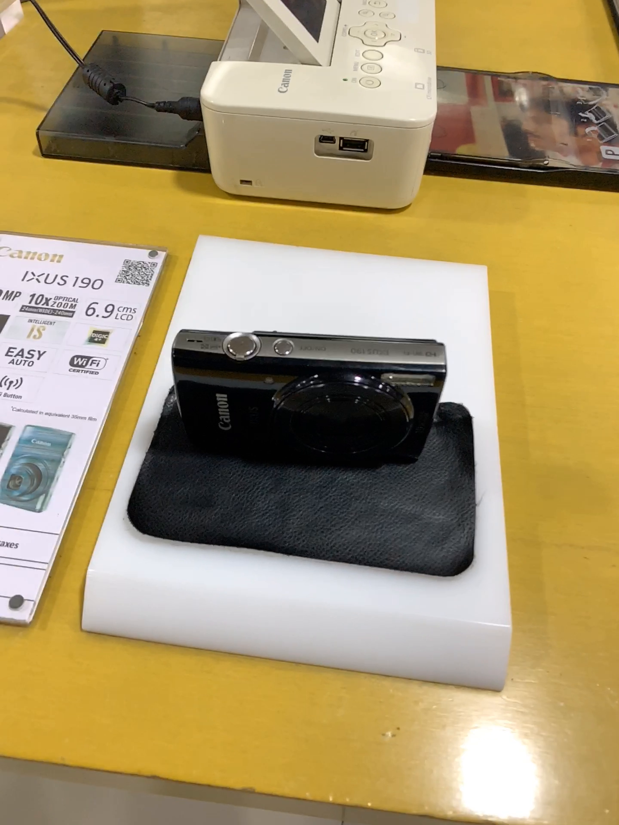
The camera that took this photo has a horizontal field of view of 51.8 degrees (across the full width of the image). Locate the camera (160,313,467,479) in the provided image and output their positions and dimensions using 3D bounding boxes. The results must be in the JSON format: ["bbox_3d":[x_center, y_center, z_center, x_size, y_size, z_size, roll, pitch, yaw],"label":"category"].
[{"bbox_3d":[0.001,-0.003,0.217,0.090,0.060,0.020,3,55,0],"label":"camera"}]
